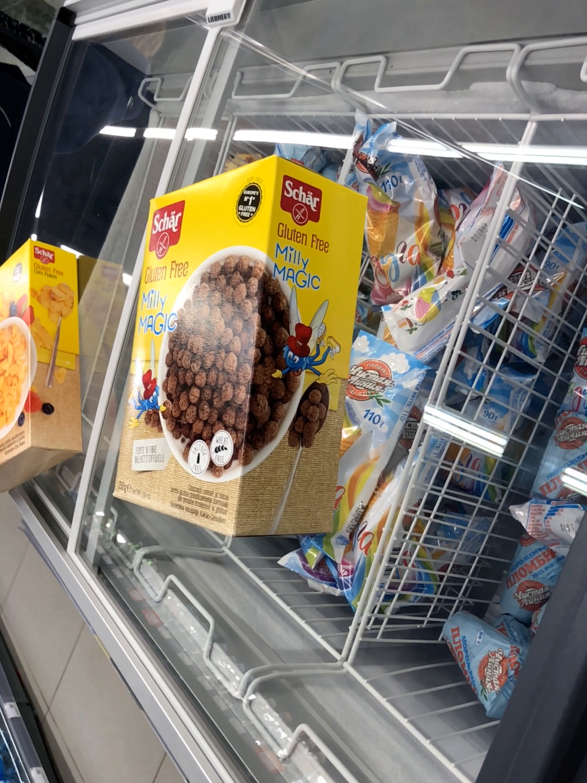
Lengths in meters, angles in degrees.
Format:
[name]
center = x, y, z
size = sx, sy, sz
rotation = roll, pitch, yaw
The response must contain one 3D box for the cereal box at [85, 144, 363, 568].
[cereal box]
center = -0.053, -0.019, 0.418
size = 0.171, 0.070, 0.220
rotation = 3, 85, 50
